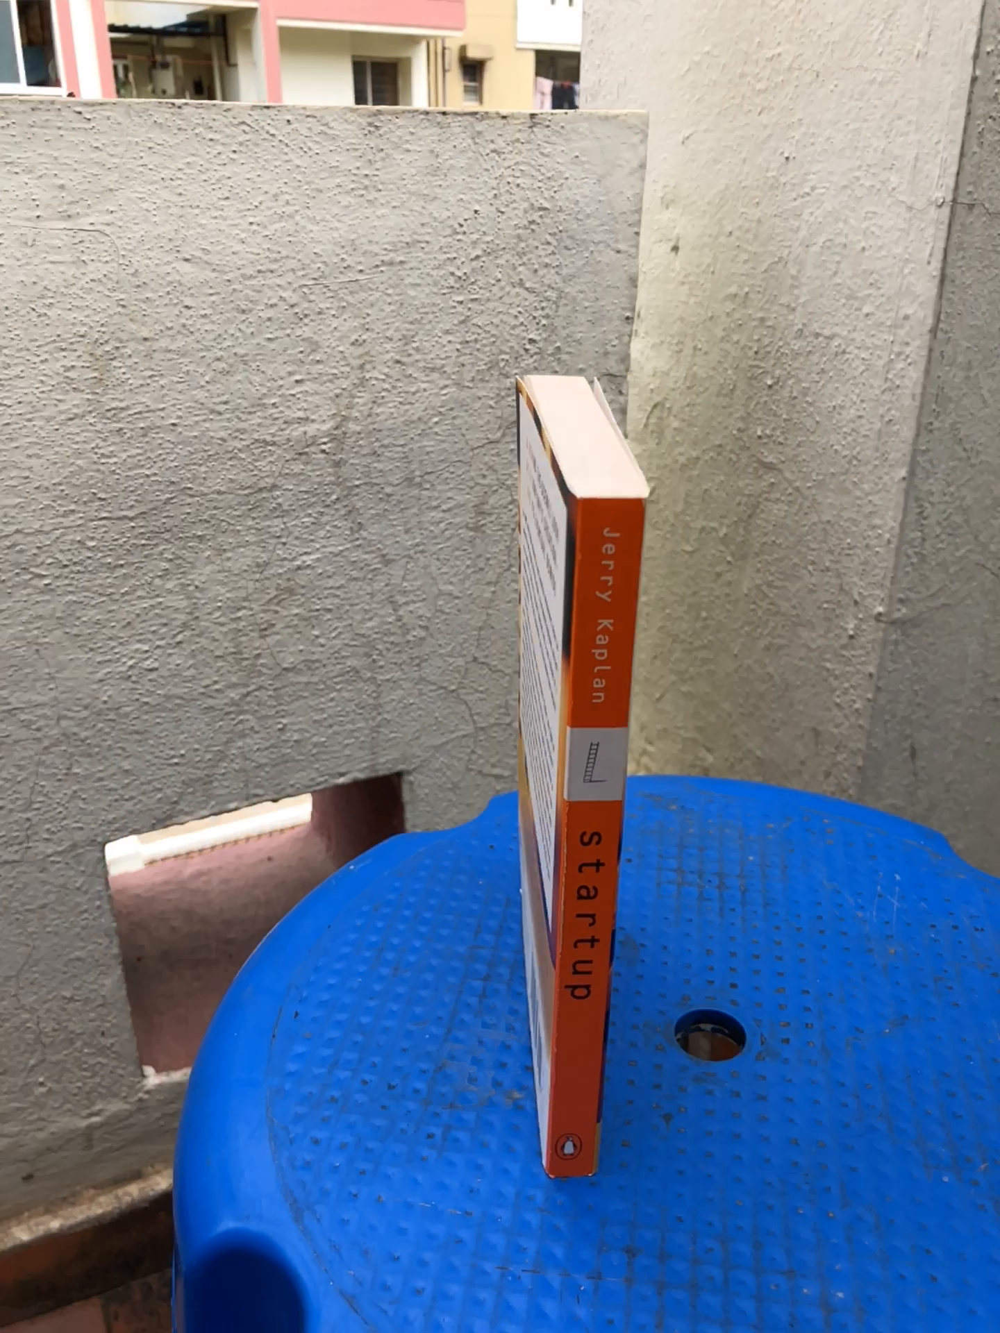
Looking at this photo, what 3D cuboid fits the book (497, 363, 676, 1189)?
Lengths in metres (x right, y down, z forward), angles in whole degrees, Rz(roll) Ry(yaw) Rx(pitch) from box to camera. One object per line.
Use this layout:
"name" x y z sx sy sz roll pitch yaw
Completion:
"book" 0.017 0.024 0.331 0.030 0.199 0.141 0 24 -2
